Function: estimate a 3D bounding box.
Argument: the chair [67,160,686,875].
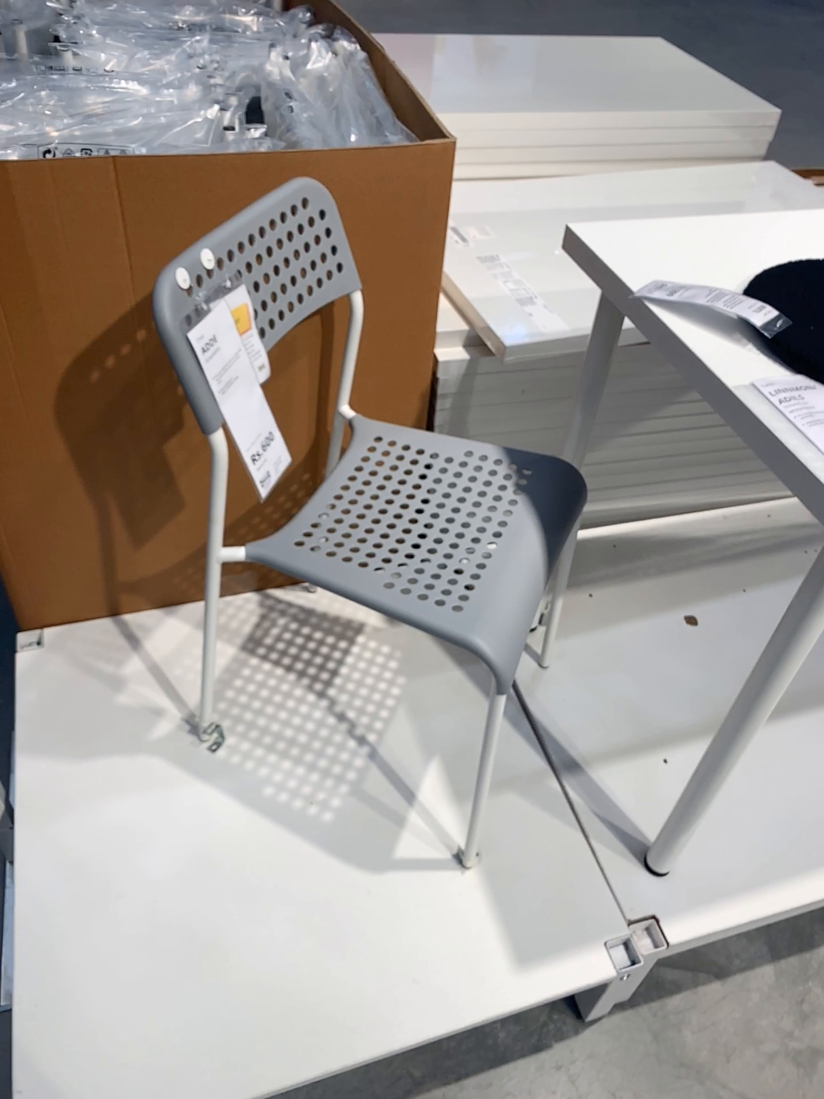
[{"bbox_3d":[-0.028,-0.034,1.118,0.500,0.687,0.462,19,45,13],"label":"chair"}]
